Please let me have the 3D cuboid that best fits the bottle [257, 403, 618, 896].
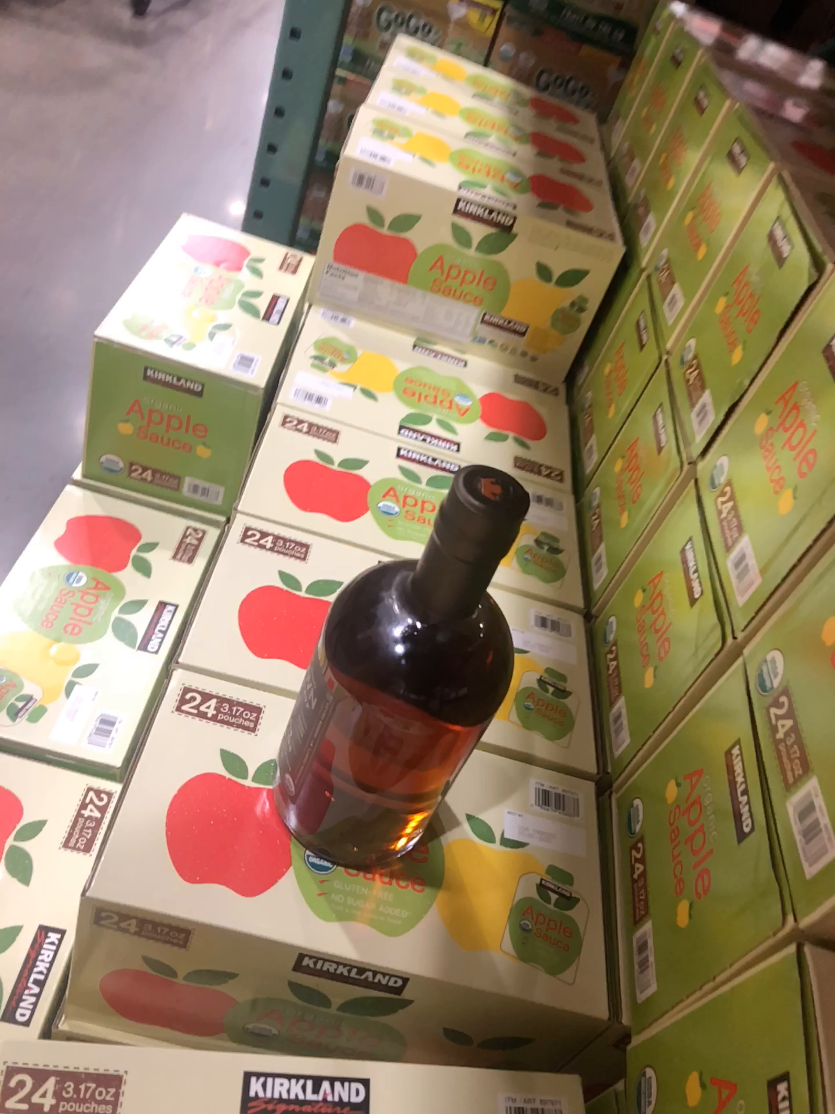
[{"bbox_3d":[-0.002,0.055,0.433,0.090,0.219,0.101,15,42,-10],"label":"bottle"}]
